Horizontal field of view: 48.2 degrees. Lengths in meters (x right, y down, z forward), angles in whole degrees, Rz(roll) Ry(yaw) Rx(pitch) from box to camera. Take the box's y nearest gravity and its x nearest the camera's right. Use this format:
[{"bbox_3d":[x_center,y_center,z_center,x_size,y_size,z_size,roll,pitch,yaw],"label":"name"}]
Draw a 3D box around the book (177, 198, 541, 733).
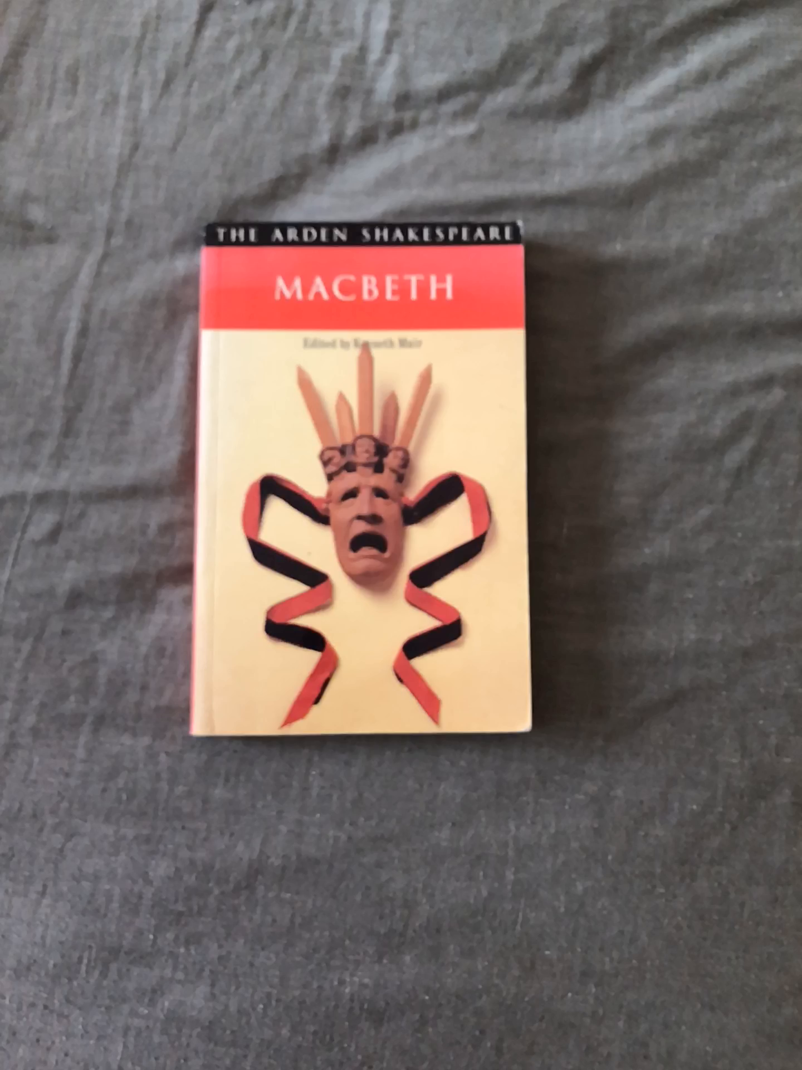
[{"bbox_3d":[-0.015,-0.028,0.341,0.130,0.020,0.200,0,83,2],"label":"book"}]
